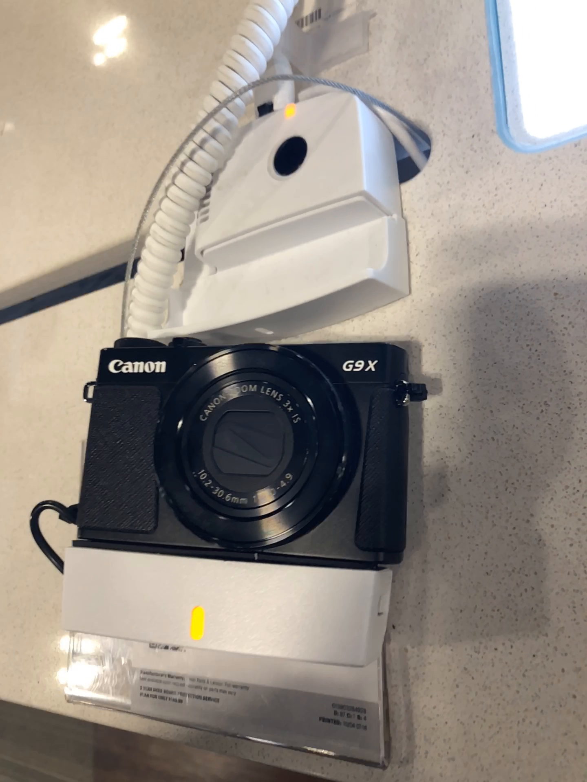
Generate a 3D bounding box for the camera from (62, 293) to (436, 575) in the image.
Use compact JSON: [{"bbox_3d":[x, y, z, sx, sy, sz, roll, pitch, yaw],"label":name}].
[{"bbox_3d":[-0.012,0.011,0.184,0.100,0.020,0.070,0,77,17],"label":"camera"}]
